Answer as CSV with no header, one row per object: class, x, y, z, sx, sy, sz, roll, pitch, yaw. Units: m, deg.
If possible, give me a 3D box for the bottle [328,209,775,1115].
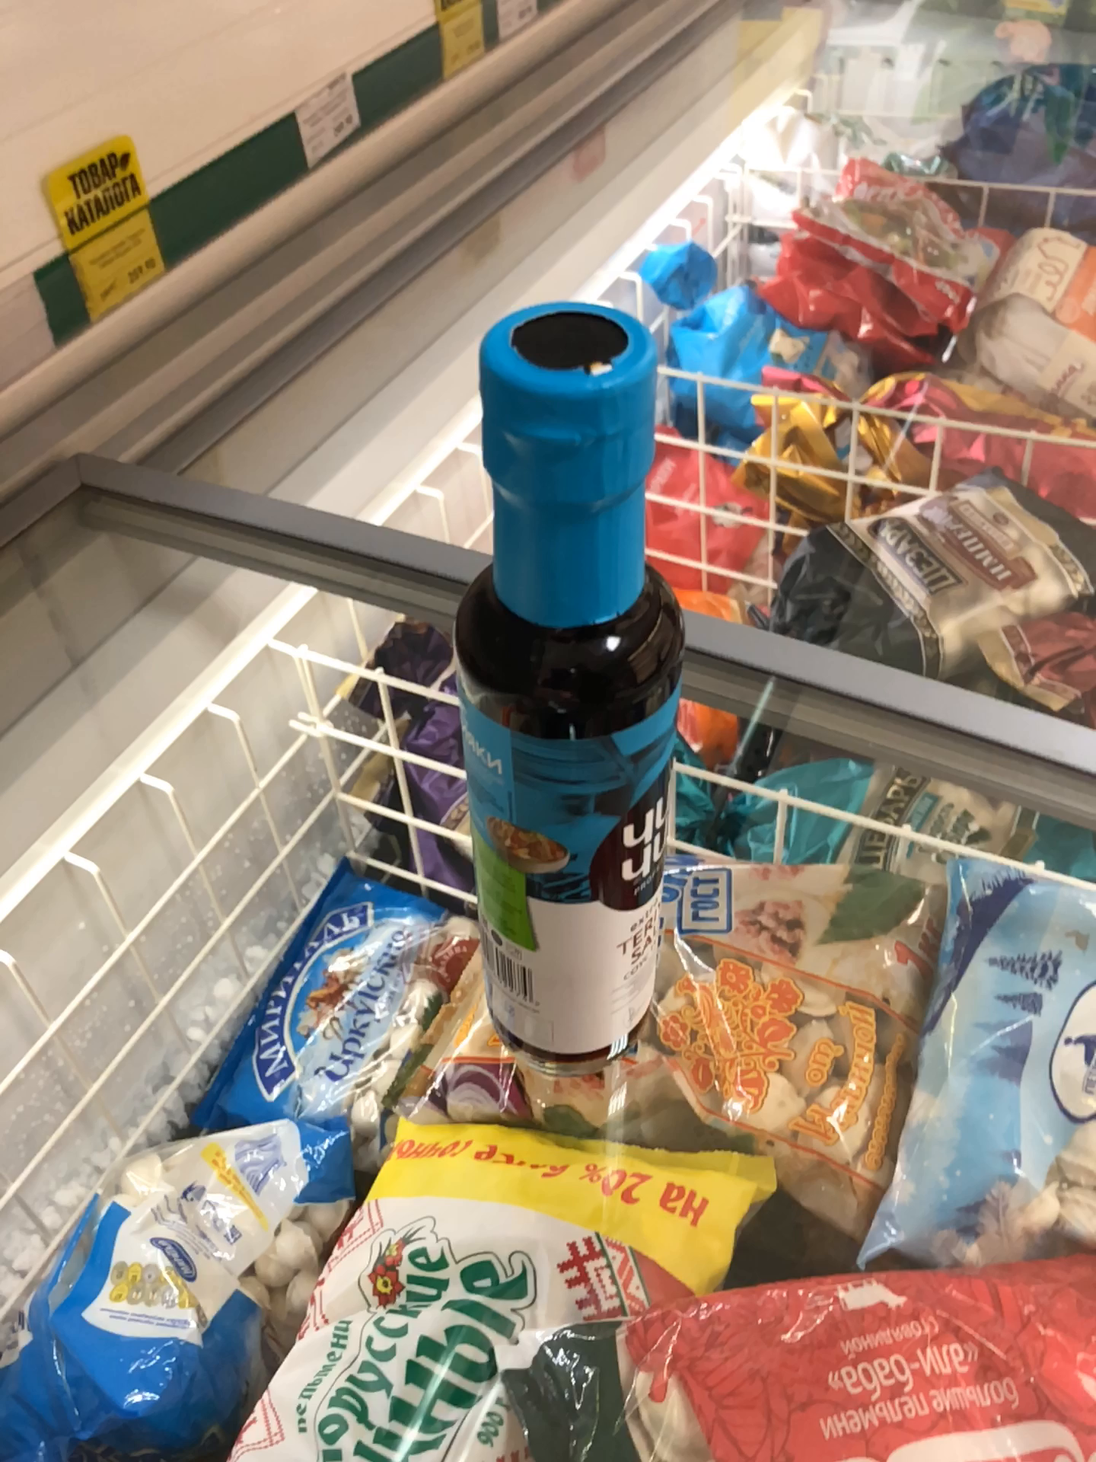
bottle,0.006,0.002,0.288,0.060,0.219,0.060,-1,44,1
